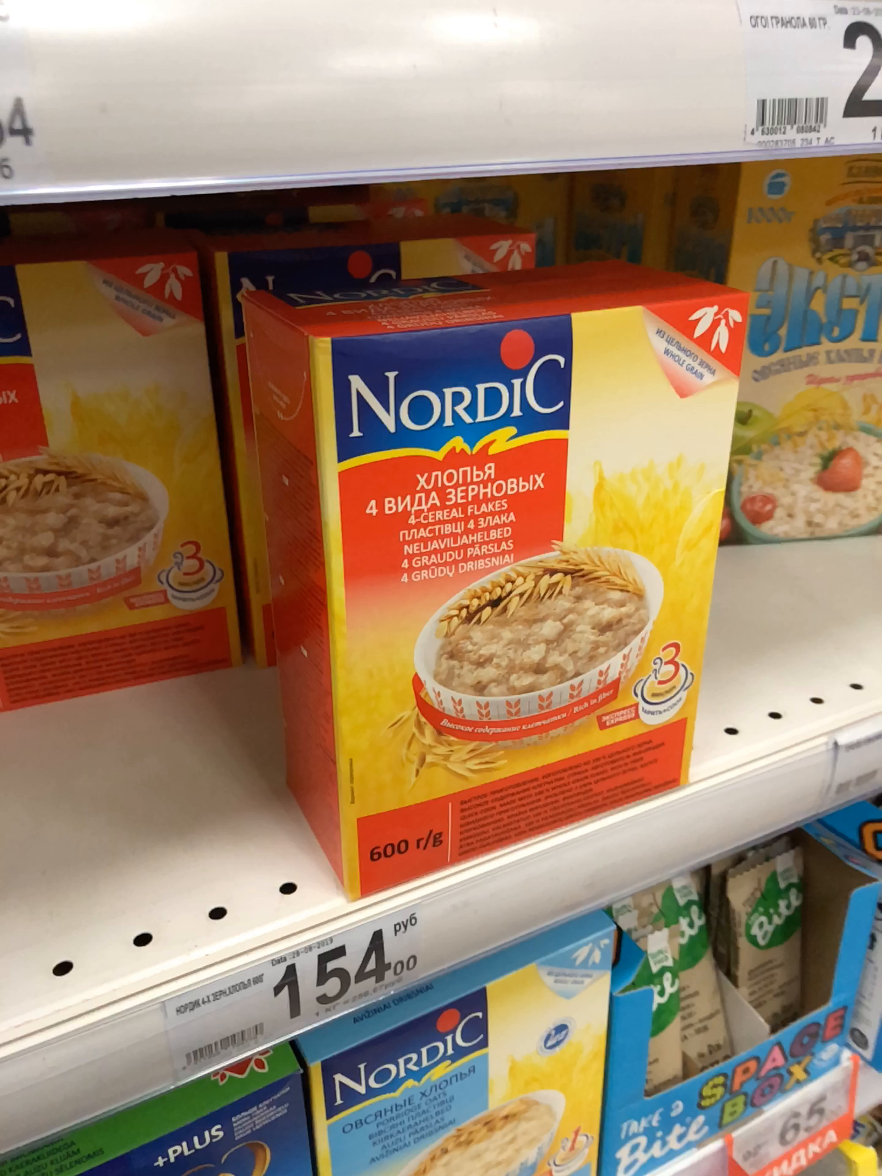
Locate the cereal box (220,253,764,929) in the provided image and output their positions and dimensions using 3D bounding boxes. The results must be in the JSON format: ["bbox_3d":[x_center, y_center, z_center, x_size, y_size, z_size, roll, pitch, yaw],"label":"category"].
[{"bbox_3d":[0.016,-0.005,0.350,0.150,0.199,0.080,-13,29,-23],"label":"cereal box"}]
